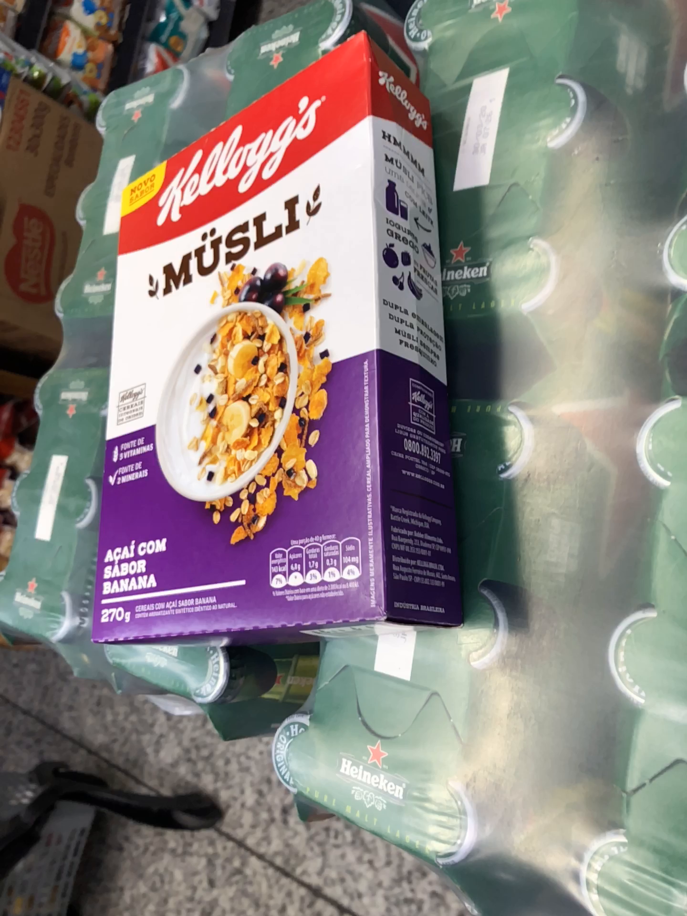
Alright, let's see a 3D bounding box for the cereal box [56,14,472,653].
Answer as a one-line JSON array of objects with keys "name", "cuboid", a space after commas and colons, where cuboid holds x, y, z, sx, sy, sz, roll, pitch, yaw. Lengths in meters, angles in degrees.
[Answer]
[{"name": "cereal box", "cuboid": [-0.036, -0.031, 0.275, 0.151, 0.040, 0.190, -14, 70, 37]}]
